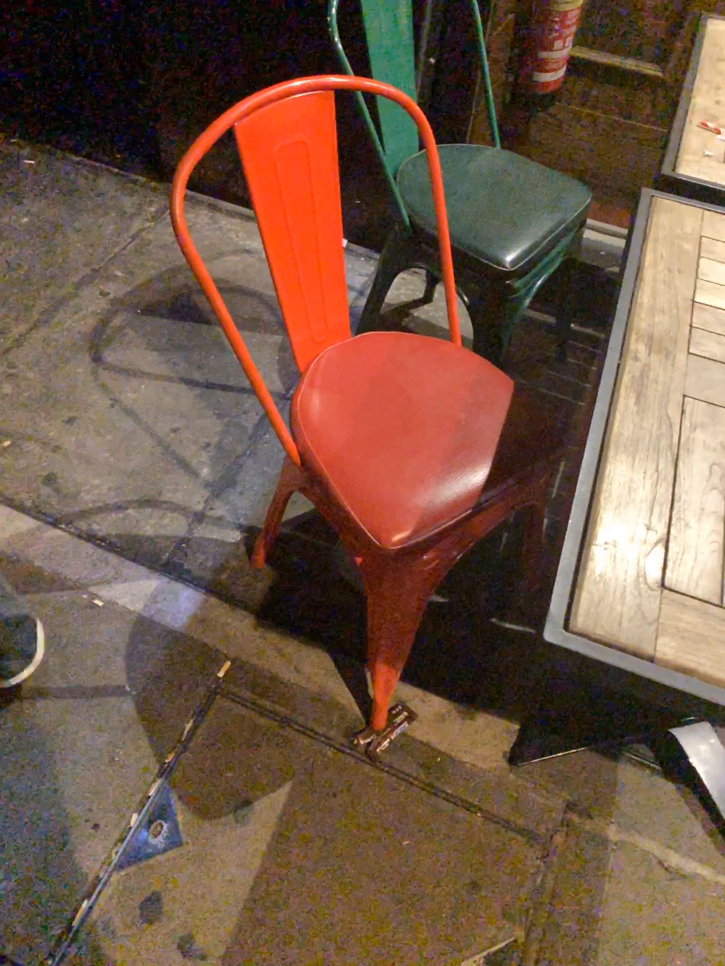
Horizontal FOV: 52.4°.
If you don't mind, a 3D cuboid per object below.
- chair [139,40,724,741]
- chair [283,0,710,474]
[{"bbox_3d":[0.046,-0.097,1.113,0.432,0.812,0.513,-31,59,-28],"label":"chair"},{"bbox_3d":[0.220,-0.540,1.484,0.512,0.832,0.432,36,61,27],"label":"chair"}]
